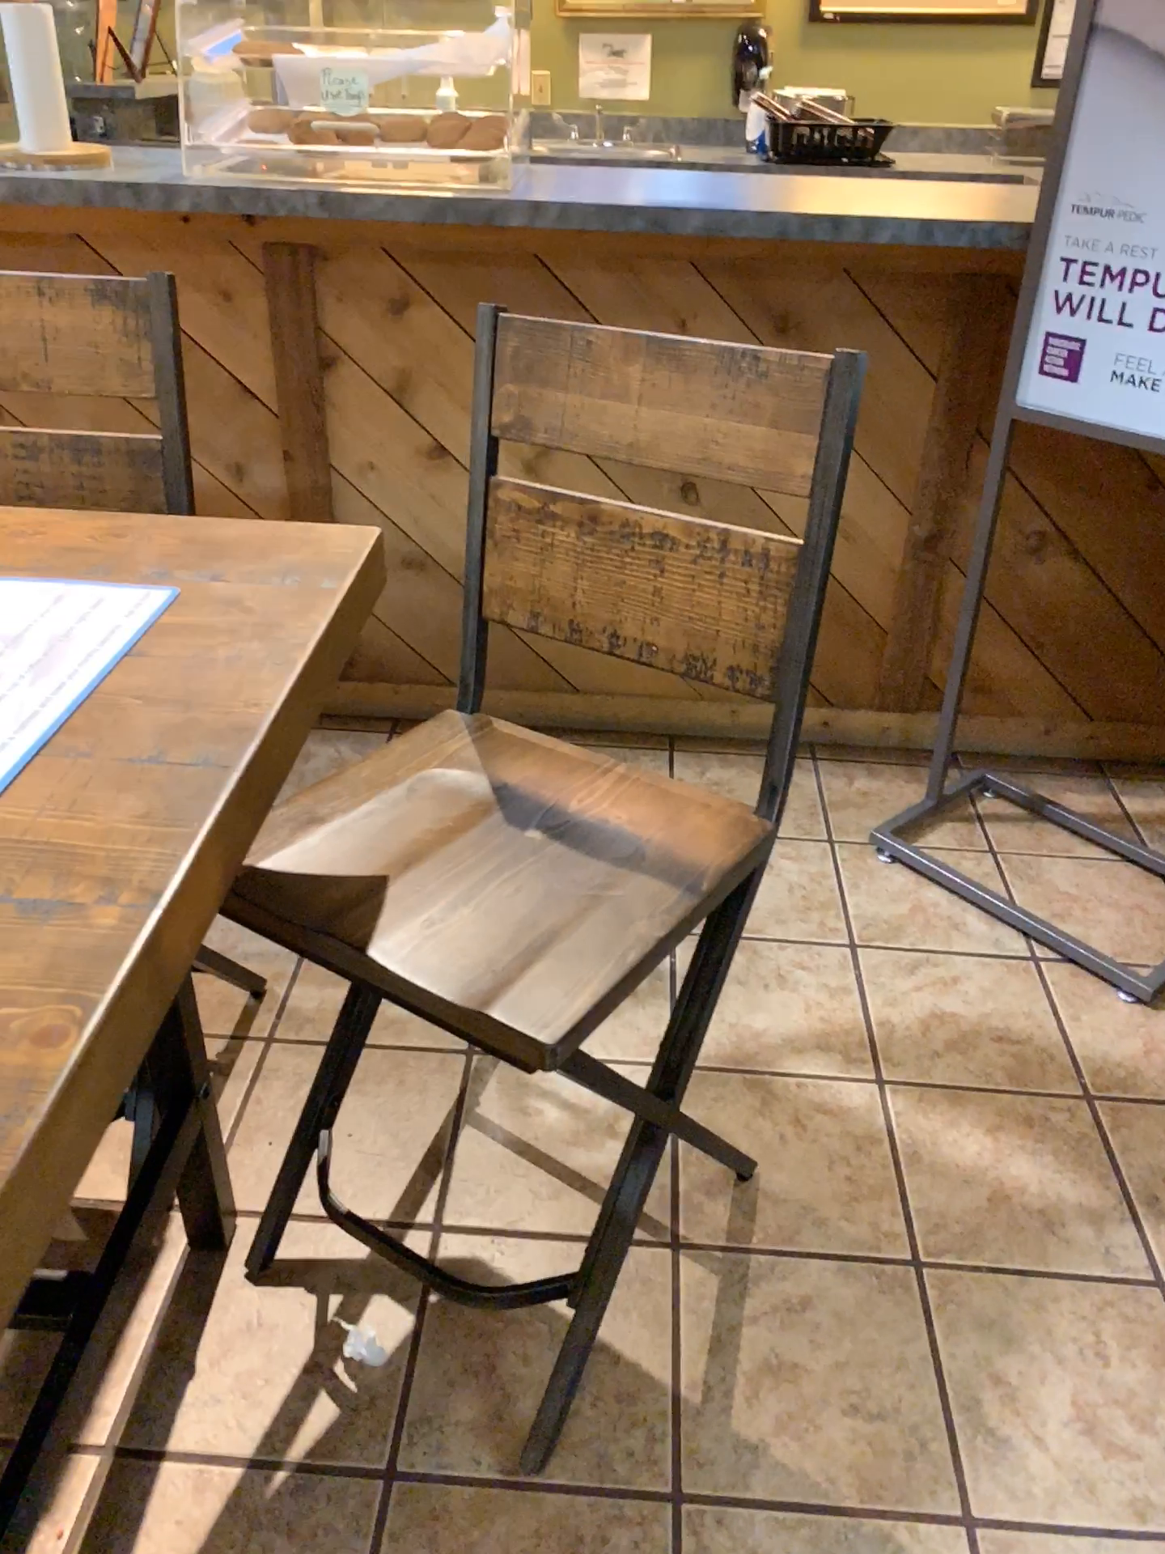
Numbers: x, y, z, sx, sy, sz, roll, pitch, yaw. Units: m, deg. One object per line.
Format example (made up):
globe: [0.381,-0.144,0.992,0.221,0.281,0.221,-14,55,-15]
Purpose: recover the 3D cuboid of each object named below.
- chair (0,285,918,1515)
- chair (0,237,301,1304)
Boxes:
chair: [-0.056,0.100,1.208,0.443,0.983,0.617,21,40,31]
chair: [-0.694,0.000,1.345,0.492,1.003,0.618,4,34,2]
